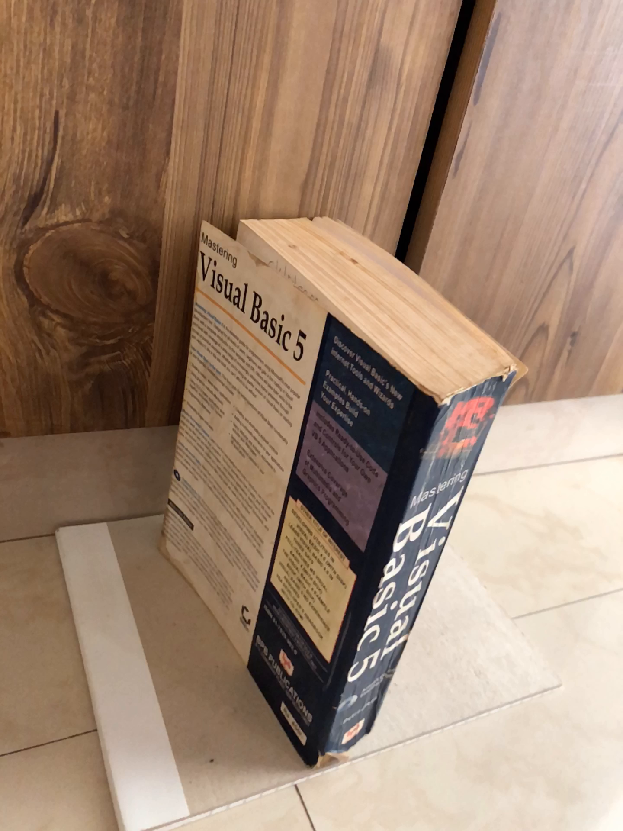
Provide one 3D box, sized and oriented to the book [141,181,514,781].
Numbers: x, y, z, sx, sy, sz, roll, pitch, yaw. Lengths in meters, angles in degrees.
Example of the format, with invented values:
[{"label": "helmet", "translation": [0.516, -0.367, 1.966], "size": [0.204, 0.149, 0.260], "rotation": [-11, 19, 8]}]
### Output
[{"label": "book", "translation": [-0.023, 0.027, 0.384], "size": [0.060, 0.249, 0.211], "rotation": [-12, 39, -32]}]
